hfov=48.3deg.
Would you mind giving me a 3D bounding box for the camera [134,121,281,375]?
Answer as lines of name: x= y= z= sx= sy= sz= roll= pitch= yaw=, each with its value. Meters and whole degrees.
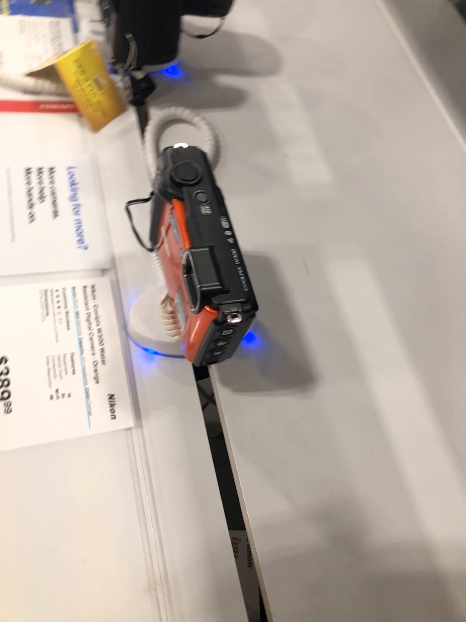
camera: x=-0.020 y=-0.036 z=0.279 sx=0.040 sy=0.060 sz=0.120 roll=-8 pitch=62 yaw=-19
